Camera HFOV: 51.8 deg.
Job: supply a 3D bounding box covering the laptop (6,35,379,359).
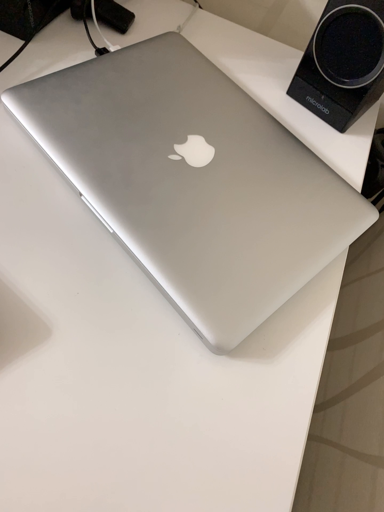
[{"bbox_3d":[0.004,-0.090,0.384,0.218,0.007,0.305,-36,75,-25],"label":"laptop"}]
